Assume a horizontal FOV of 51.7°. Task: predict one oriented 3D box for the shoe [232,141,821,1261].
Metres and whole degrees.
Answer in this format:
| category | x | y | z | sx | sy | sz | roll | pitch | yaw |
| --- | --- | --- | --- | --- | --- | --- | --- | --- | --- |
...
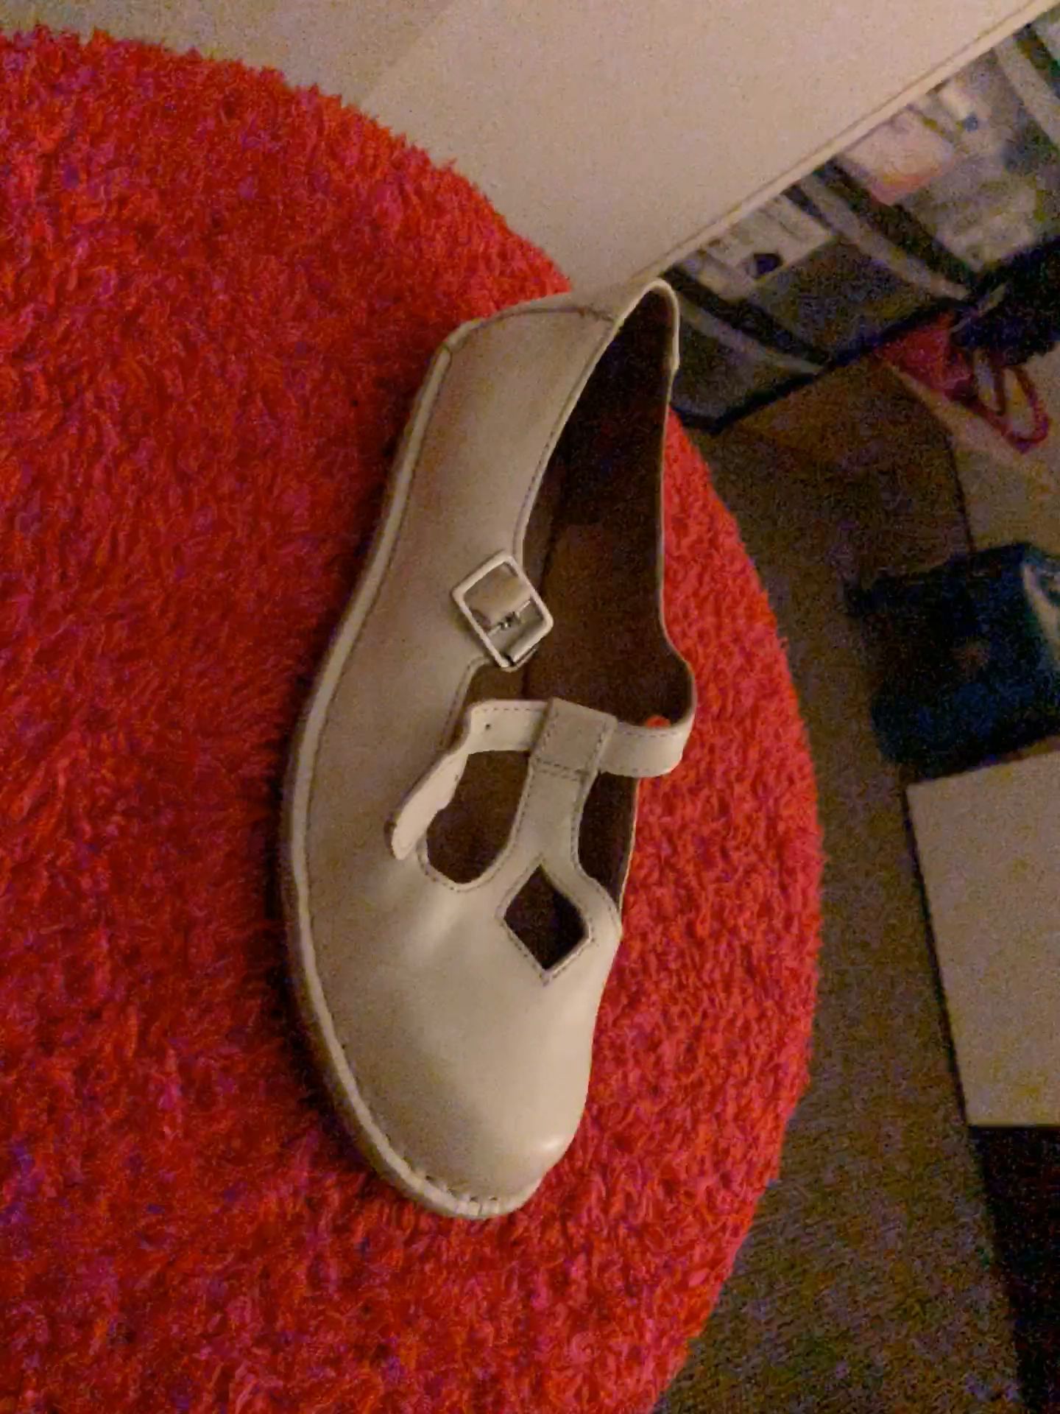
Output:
| category | x | y | z | sx | sy | sz | roll | pitch | yaw |
| --- | --- | --- | --- | --- | --- | --- | --- | --- | --- |
| shoe | 0.000 | -0.002 | 0.298 | 0.100 | 0.089 | 0.261 | 19 | 62 | -39 |
